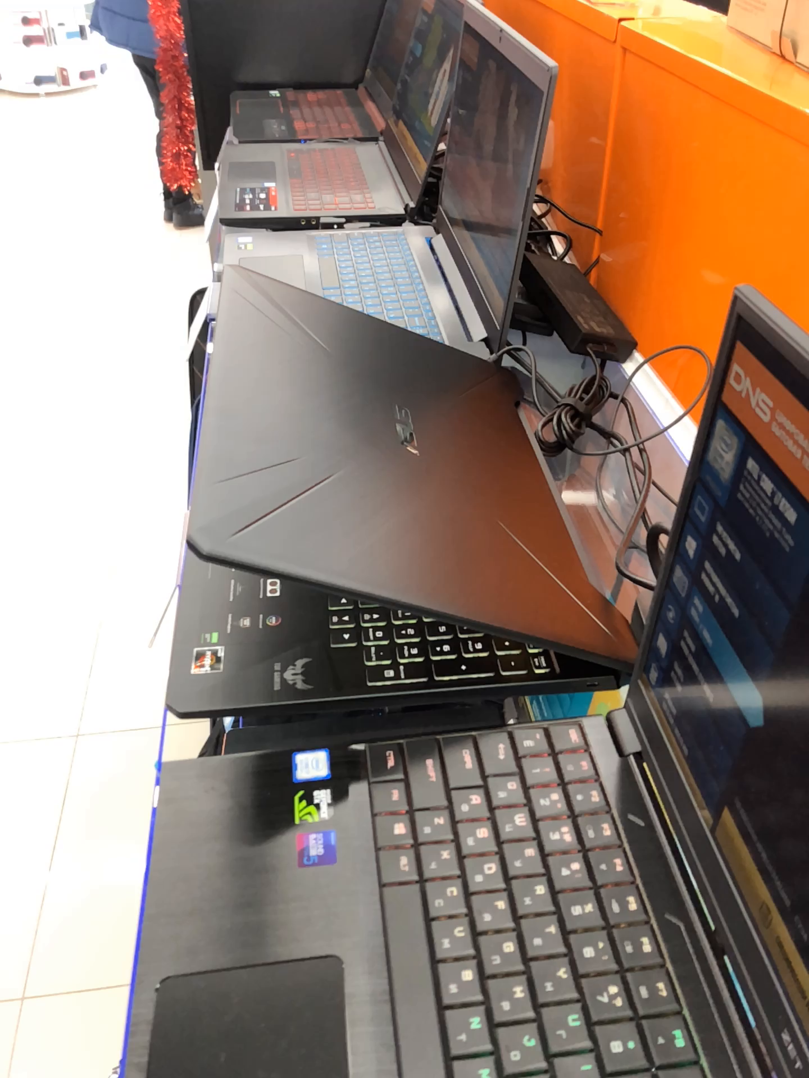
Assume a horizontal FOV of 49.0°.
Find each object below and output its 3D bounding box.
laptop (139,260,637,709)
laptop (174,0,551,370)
[{"bbox_3d":[-0.029,-0.066,0.592,0.239,0.106,0.348,-5,38,-6],"label":"laptop"},{"bbox_3d":[-0.048,-0.367,0.871,0.282,0.235,0.358,-5,38,-6],"label":"laptop"}]
